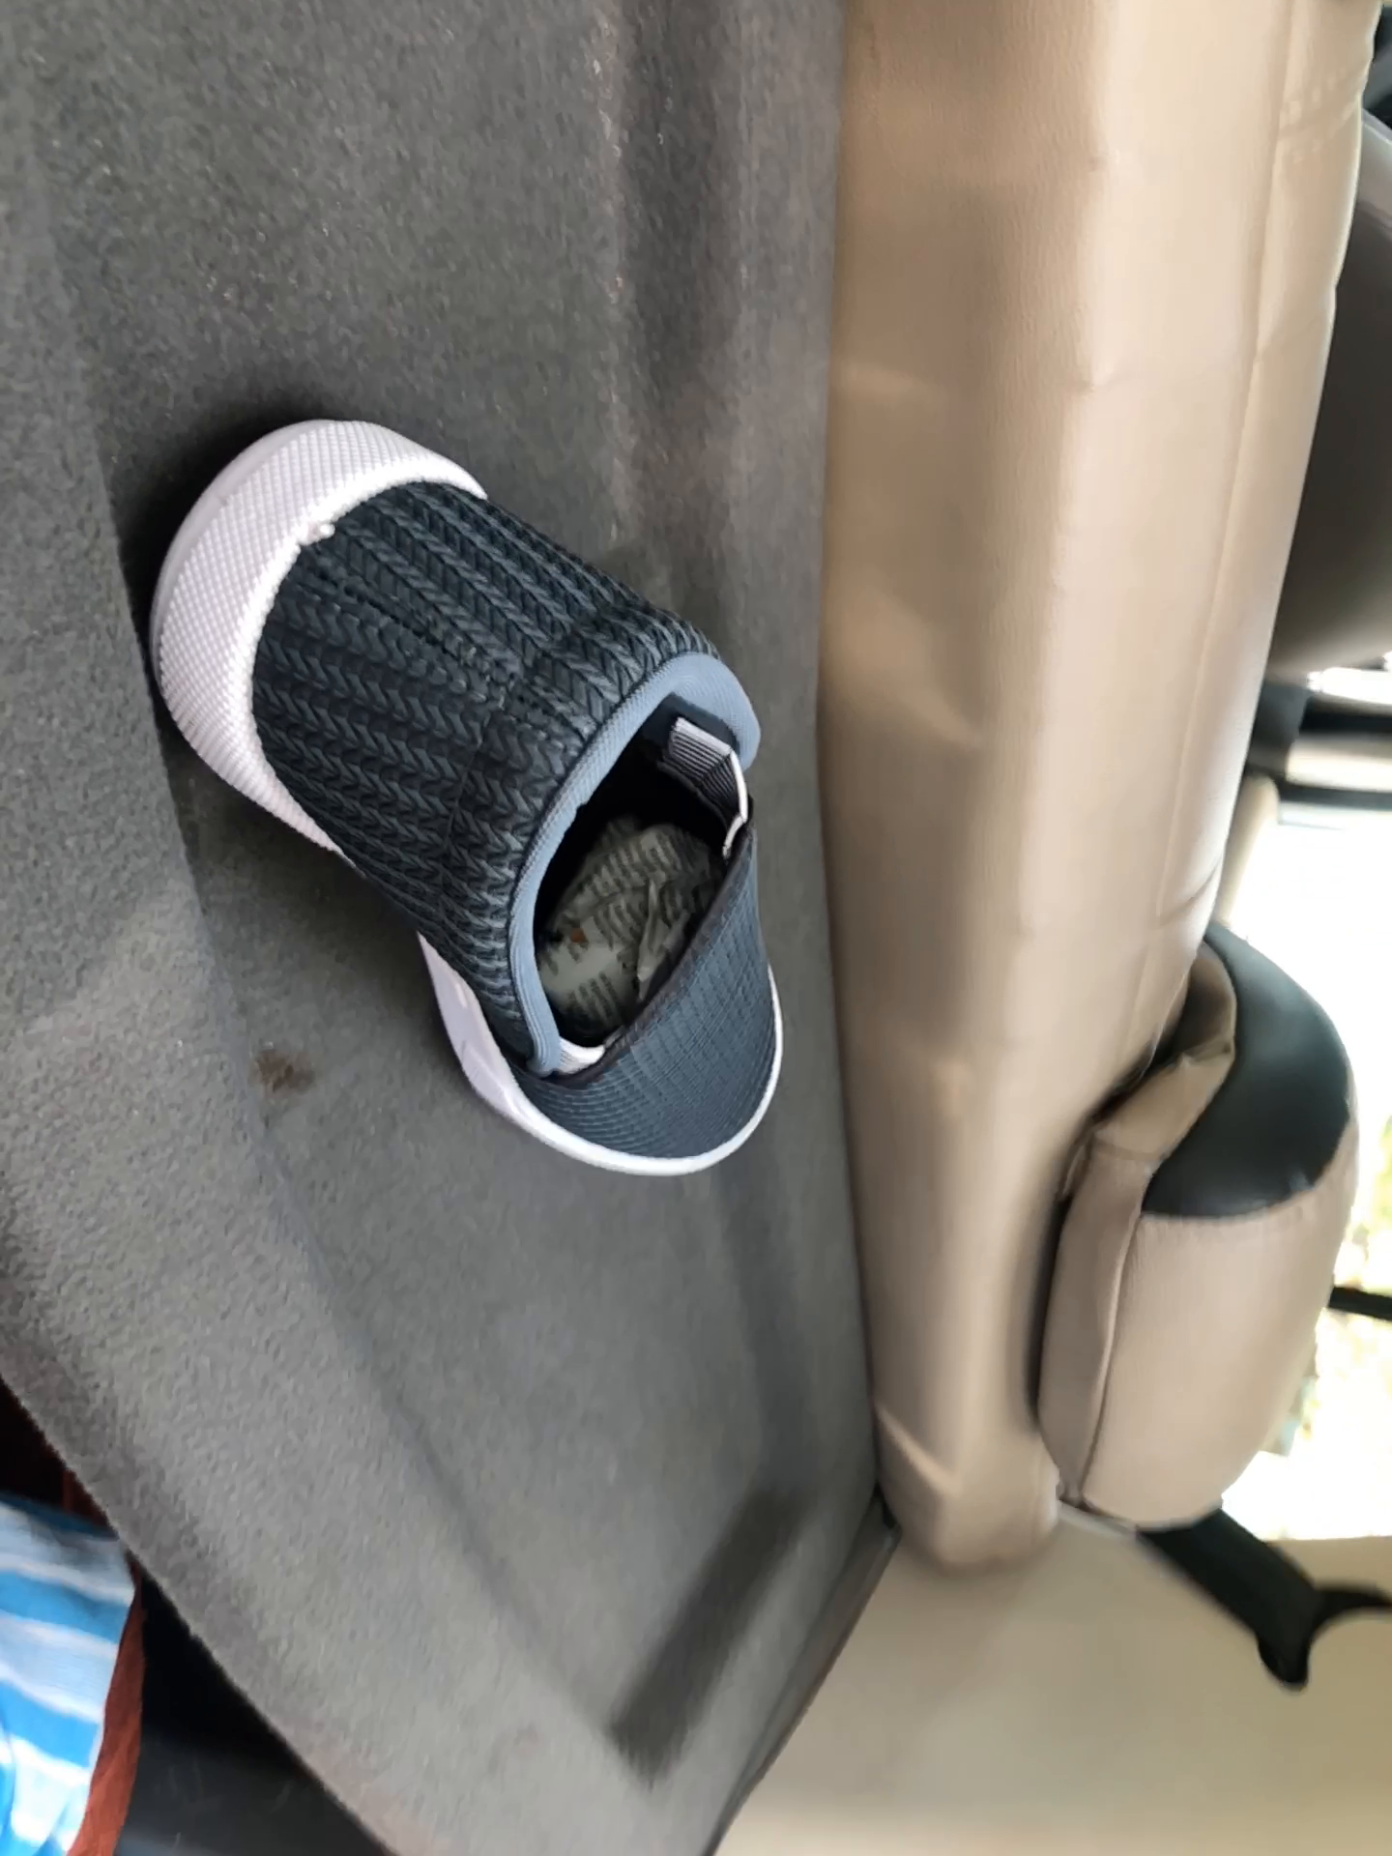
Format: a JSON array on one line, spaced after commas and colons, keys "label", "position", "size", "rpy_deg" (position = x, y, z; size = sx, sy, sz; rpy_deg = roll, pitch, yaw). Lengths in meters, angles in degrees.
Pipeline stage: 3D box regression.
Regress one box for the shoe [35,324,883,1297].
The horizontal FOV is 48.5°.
[{"label": "shoe", "position": [-0.028, -0.003, 0.388], "size": [0.080, 0.089, 0.282], "rpy_deg": [-62, 154, -22]}]
